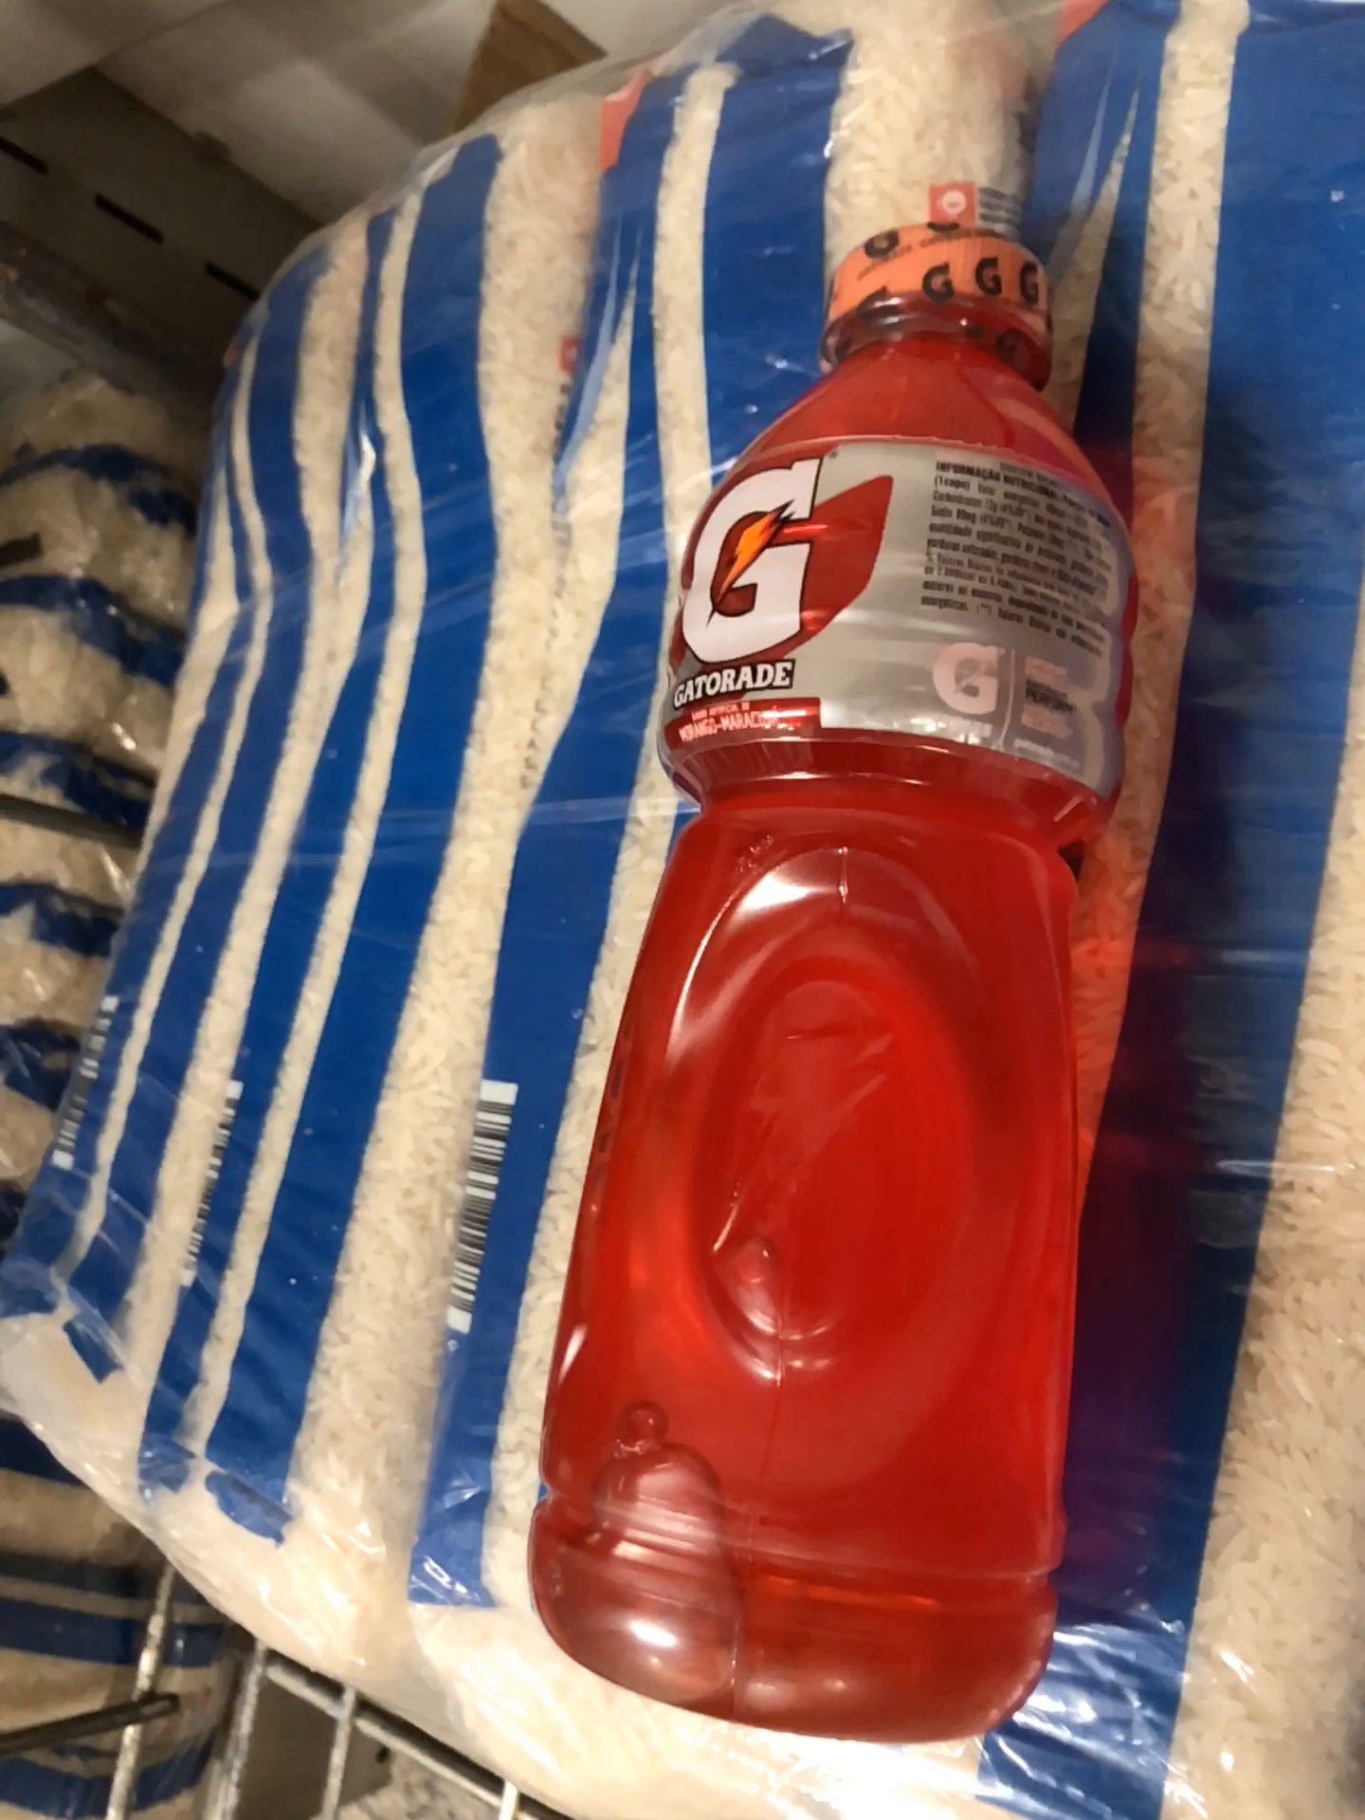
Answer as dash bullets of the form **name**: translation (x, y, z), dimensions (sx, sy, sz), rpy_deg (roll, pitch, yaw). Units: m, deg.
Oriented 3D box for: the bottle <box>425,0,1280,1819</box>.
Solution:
- **bottle**: translation (0.027, -0.004, 0.207), dimensions (0.080, 0.060, 0.220), rpy_deg (0, 81, 37)
